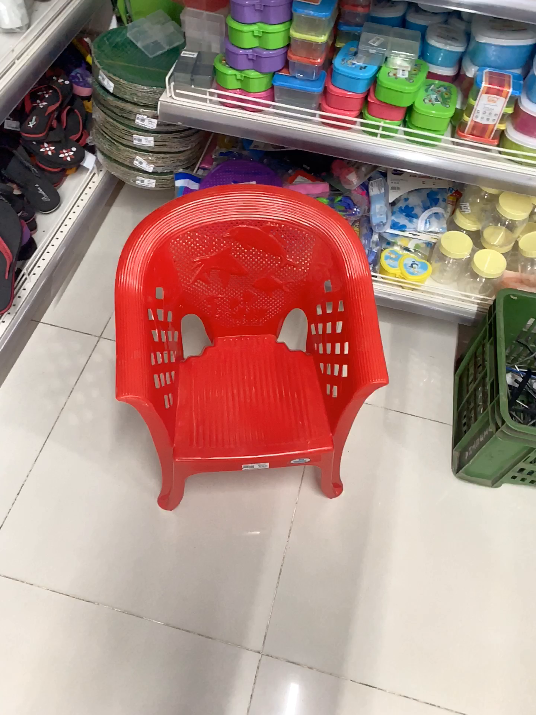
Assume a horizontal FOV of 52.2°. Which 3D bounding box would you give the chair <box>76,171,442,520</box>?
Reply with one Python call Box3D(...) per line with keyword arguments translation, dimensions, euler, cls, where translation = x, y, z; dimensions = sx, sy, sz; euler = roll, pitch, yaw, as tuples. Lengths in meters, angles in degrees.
Box3D(translation=(-0.031, -0.005, 1.077), dimensions=(0.500, 0.479, 0.491), euler=(-2, 58, -4), cls="chair")
